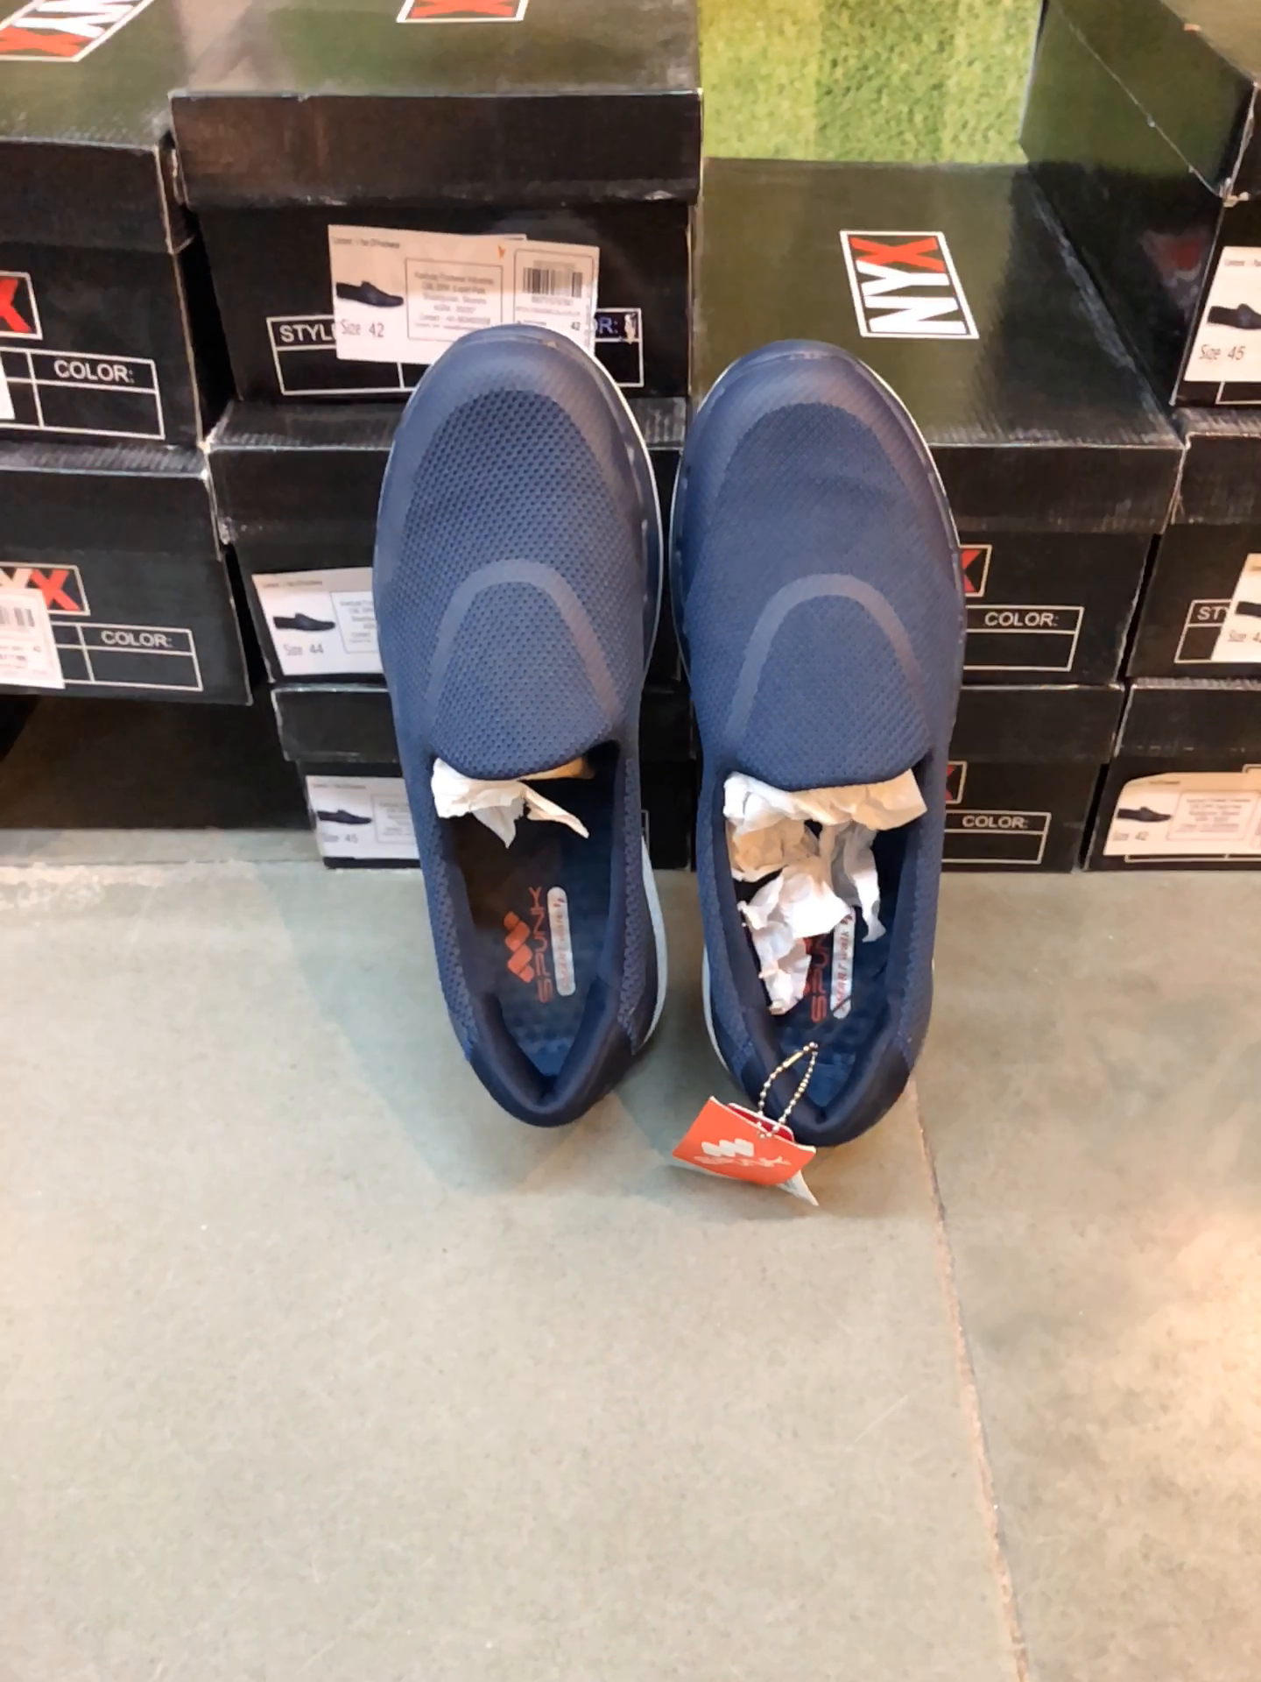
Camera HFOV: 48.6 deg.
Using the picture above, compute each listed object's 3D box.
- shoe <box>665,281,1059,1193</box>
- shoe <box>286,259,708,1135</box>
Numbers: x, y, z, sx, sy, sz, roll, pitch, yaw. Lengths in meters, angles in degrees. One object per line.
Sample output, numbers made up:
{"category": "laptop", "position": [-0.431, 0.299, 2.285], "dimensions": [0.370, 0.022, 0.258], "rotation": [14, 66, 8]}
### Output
{"category": "shoe", "position": [0.071, -0.033, 0.464], "dimensions": [0.107, 0.273, 0.099], "rotation": [-2, 16, 2]}
{"category": "shoe", "position": [-0.034, -0.048, 0.489], "dimensions": [0.109, 0.273, 0.110], "rotation": [-3, 17, 3]}
